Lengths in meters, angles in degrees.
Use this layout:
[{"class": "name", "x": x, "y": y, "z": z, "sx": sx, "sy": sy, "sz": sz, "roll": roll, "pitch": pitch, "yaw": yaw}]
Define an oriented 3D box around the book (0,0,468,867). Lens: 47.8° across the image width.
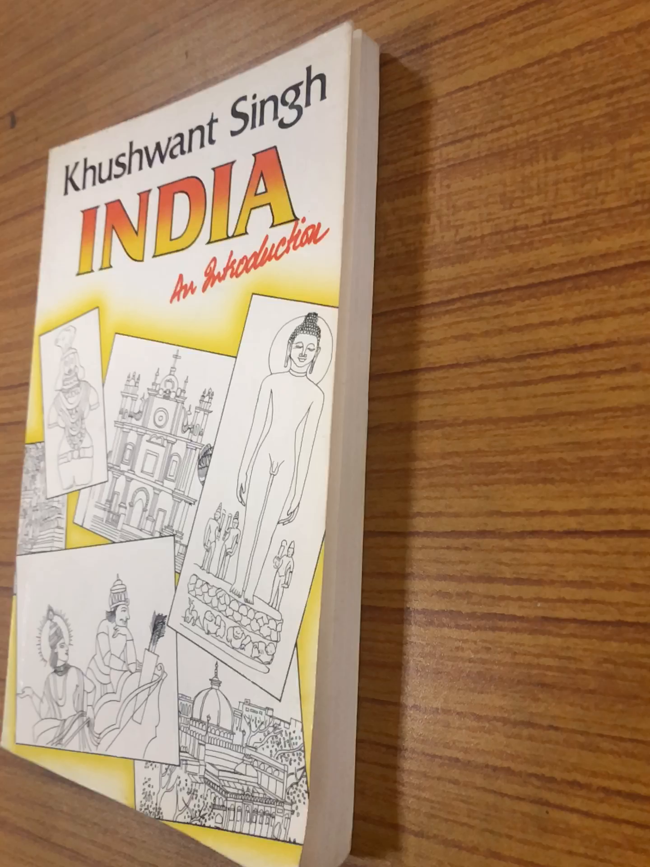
[{"class": "book", "x": -0.035, "y": 0.000, "z": 0.195, "sx": 0.141, "sy": 0.020, "sz": 0.190, "roll": -1, "pitch": 83, "yaw": 36}]
